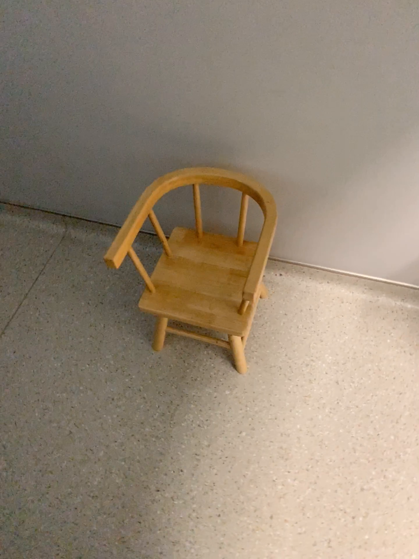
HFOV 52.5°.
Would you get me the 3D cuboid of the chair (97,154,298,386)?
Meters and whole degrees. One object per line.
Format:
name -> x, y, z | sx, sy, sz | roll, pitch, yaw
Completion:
chair -> 0.002, -0.009, 1.166 | 0.362, 0.481, 0.344 | 15, 58, 15
